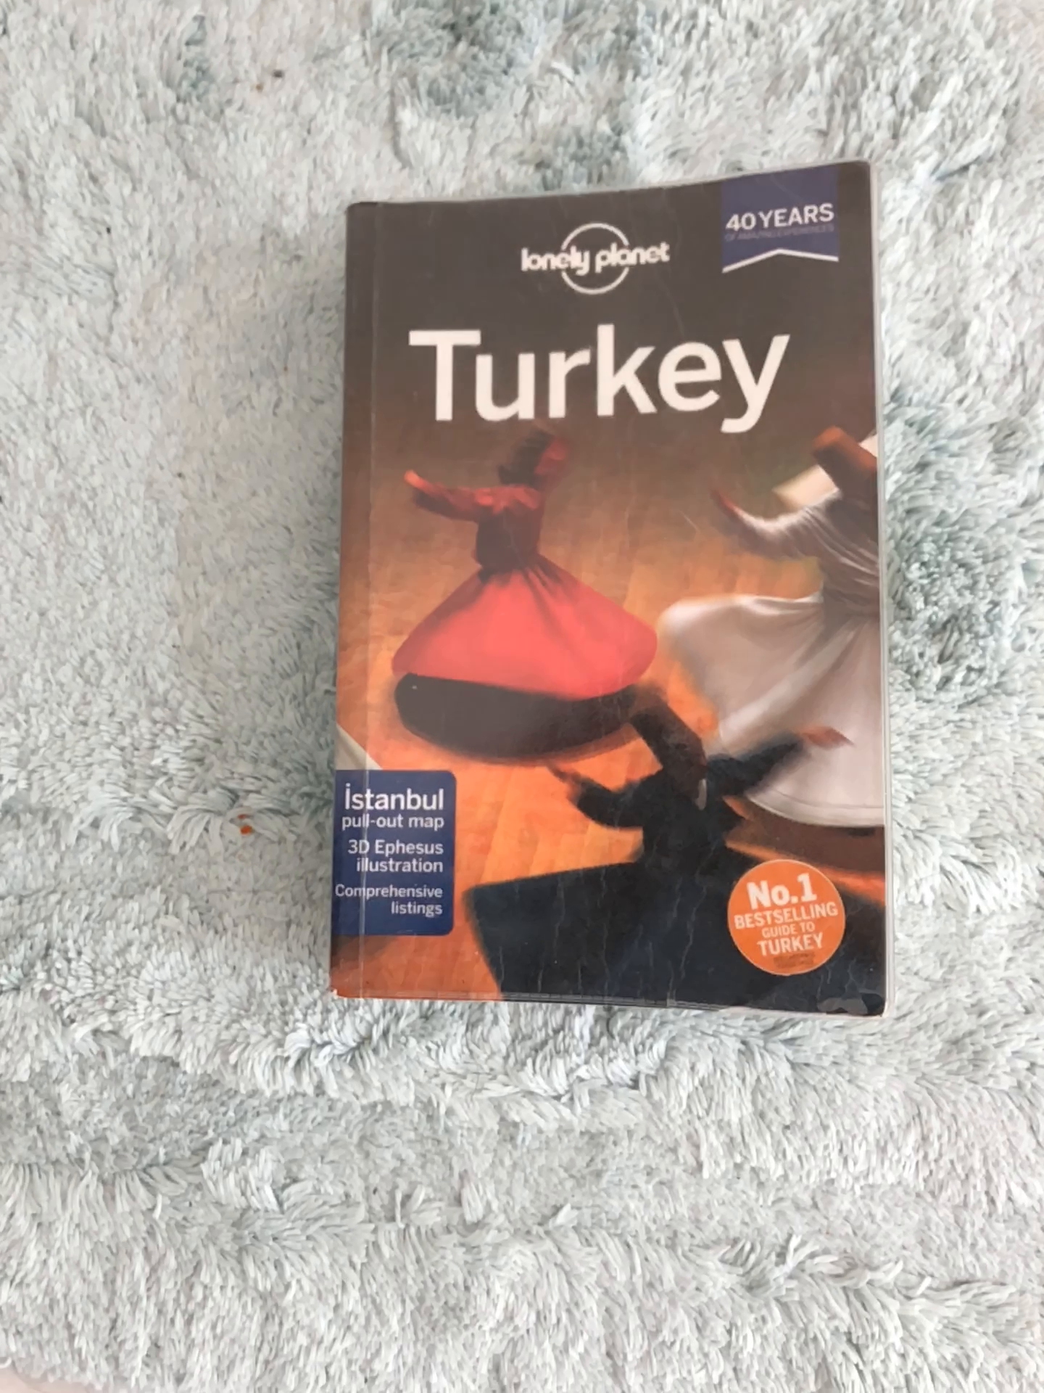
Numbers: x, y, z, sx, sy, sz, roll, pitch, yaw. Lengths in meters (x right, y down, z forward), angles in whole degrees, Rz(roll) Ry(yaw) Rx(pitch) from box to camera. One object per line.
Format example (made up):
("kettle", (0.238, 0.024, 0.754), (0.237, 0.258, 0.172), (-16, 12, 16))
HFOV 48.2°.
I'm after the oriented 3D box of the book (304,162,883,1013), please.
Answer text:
("book", (0.018, -0.025, 0.291), (0.130, 0.046, 0.190), (0, 86, 9))
